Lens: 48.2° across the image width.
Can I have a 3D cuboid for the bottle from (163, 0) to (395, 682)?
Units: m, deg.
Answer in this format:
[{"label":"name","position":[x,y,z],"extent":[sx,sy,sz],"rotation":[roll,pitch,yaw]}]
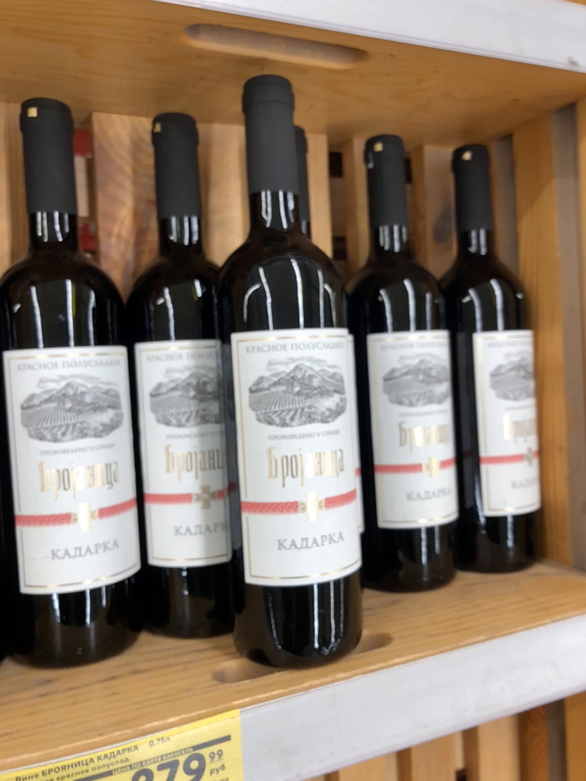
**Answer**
[{"label":"bottle","position":[-0.010,-0.025,0.345],"extent":[0.080,0.080,0.309],"rotation":[-4,92,-22]}]
